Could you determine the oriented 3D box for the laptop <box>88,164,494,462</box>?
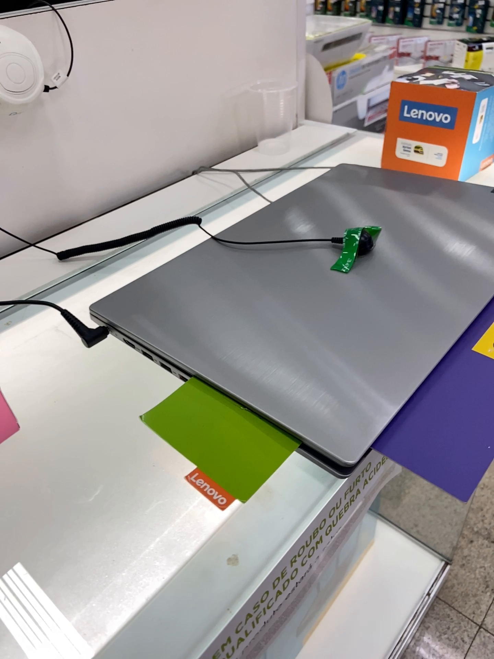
[{"bbox_3d":[0.084,-0.064,0.441,0.240,0.001,0.363,26,47,33],"label":"laptop"}]
